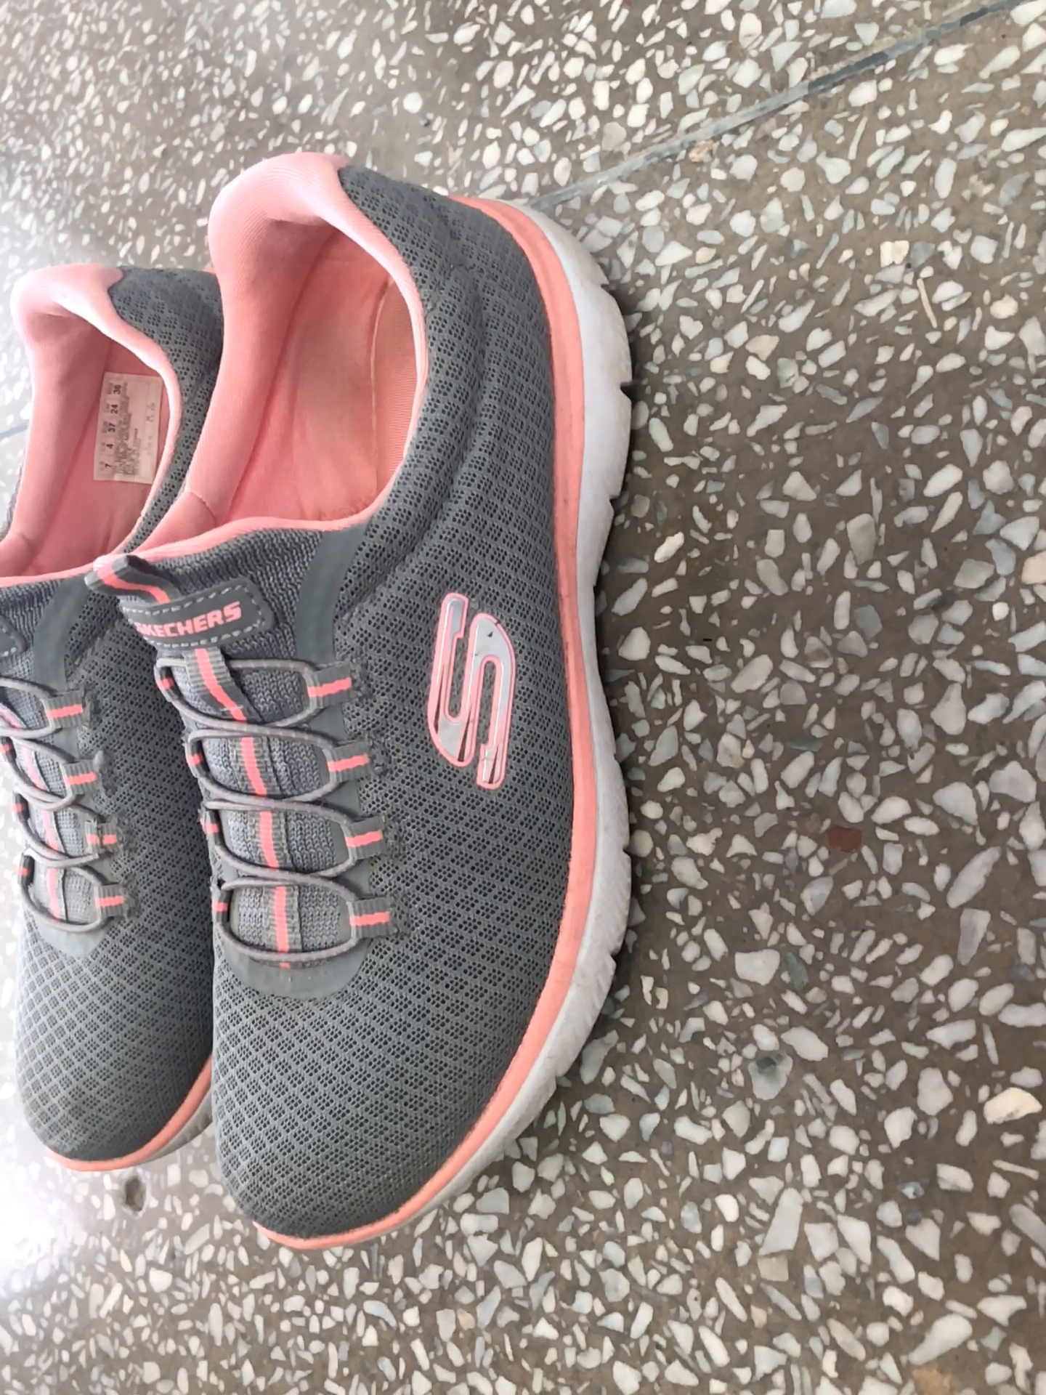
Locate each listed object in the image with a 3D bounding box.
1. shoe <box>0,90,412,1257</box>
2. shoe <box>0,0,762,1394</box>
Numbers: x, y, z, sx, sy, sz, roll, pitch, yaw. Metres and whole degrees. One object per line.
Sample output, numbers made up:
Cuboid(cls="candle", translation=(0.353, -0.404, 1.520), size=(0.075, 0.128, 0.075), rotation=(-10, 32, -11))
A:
Cuboid(cls="shoe", translation=(-0.114, -0.006, 0.314), size=(0.097, 0.094, 0.252), rotation=(1, 80, 36))
Cuboid(cls="shoe", translation=(-0.029, -0.004, 0.258), size=(0.102, 0.108, 0.246), rotation=(1, 80, 36))
